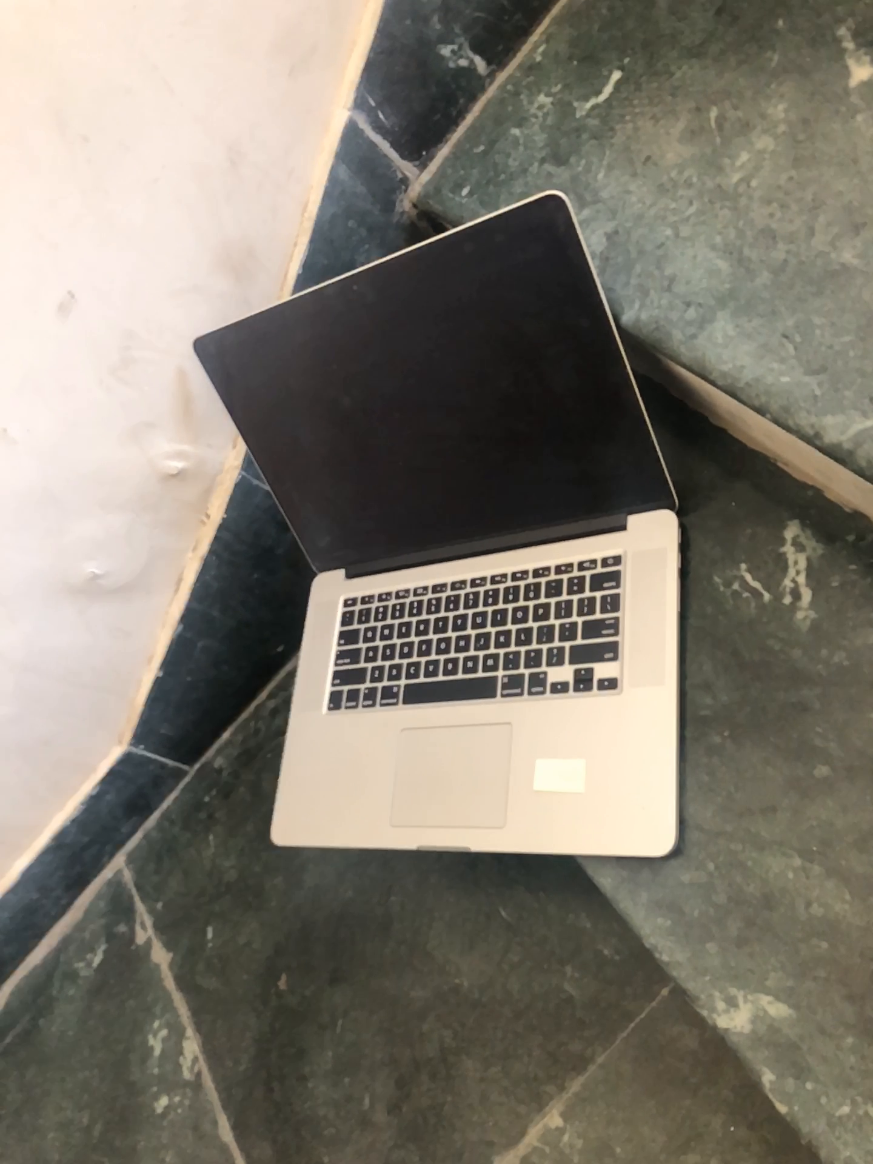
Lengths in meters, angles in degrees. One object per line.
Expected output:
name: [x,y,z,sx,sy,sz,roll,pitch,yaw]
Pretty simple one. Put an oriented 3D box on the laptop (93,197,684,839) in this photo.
laptop: [-0.022,-0.017,0.707,0.342,0.194,0.364,-10,61,35]
